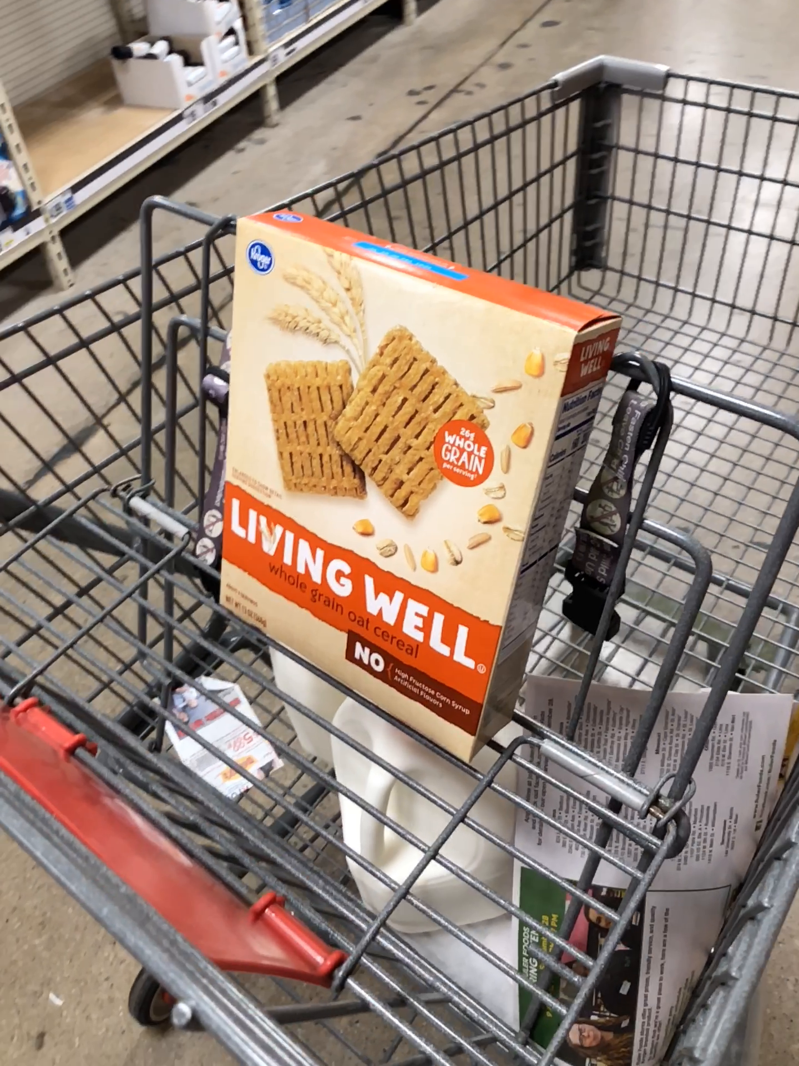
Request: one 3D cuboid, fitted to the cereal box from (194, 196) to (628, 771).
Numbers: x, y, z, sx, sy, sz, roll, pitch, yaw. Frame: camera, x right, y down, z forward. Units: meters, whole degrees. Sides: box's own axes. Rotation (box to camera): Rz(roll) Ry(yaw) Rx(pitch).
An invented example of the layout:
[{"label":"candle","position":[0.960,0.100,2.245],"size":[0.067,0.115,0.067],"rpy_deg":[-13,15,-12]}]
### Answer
[{"label":"cereal box","position":[-0.016,-0.030,0.473],"size":[0.210,0.240,0.060],"rpy_deg":[28,36,29]}]
